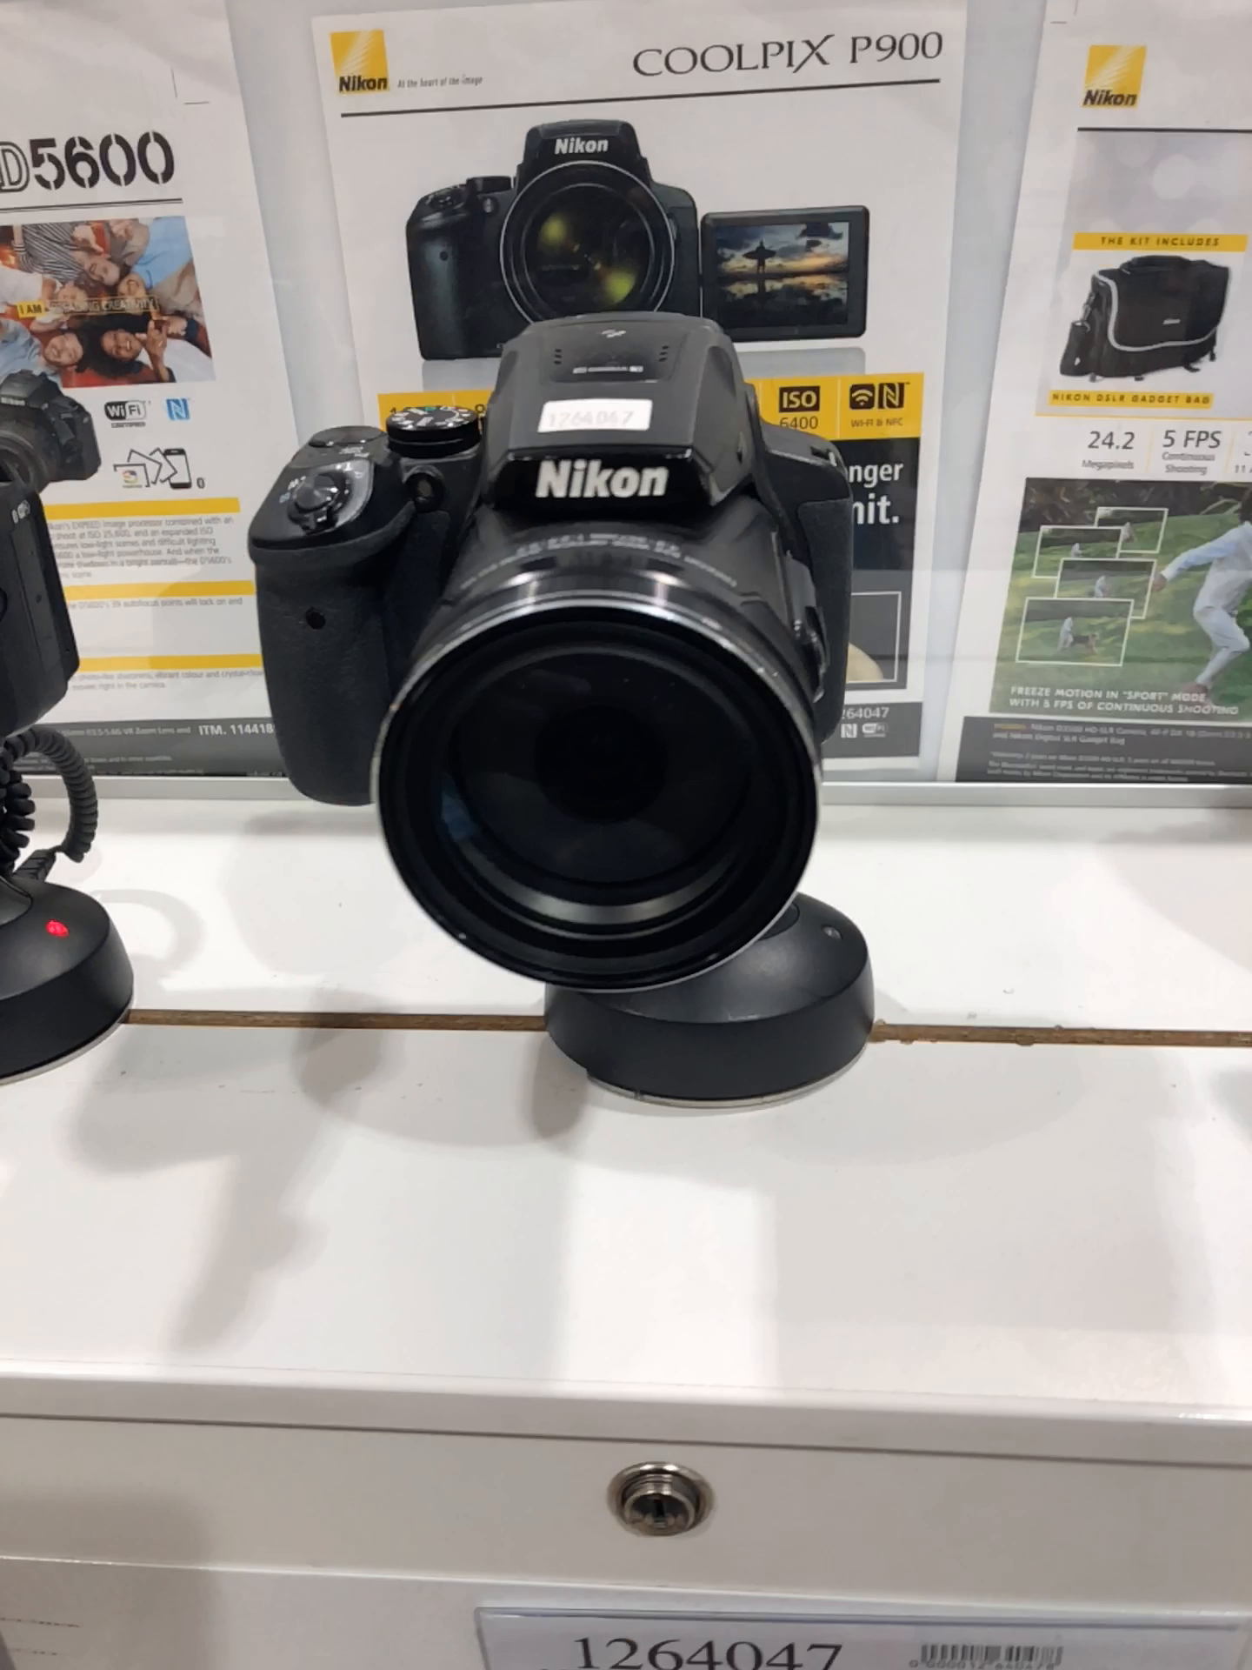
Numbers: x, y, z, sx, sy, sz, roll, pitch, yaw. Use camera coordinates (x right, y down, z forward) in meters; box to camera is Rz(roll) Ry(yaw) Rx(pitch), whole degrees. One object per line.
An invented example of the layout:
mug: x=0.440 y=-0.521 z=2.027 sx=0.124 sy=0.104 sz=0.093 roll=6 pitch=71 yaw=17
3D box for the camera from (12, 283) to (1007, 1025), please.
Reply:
camera: x=-0.013 y=-0.049 z=0.288 sx=0.140 sy=0.100 sz=0.161 roll=0 pitch=28 yaw=3
